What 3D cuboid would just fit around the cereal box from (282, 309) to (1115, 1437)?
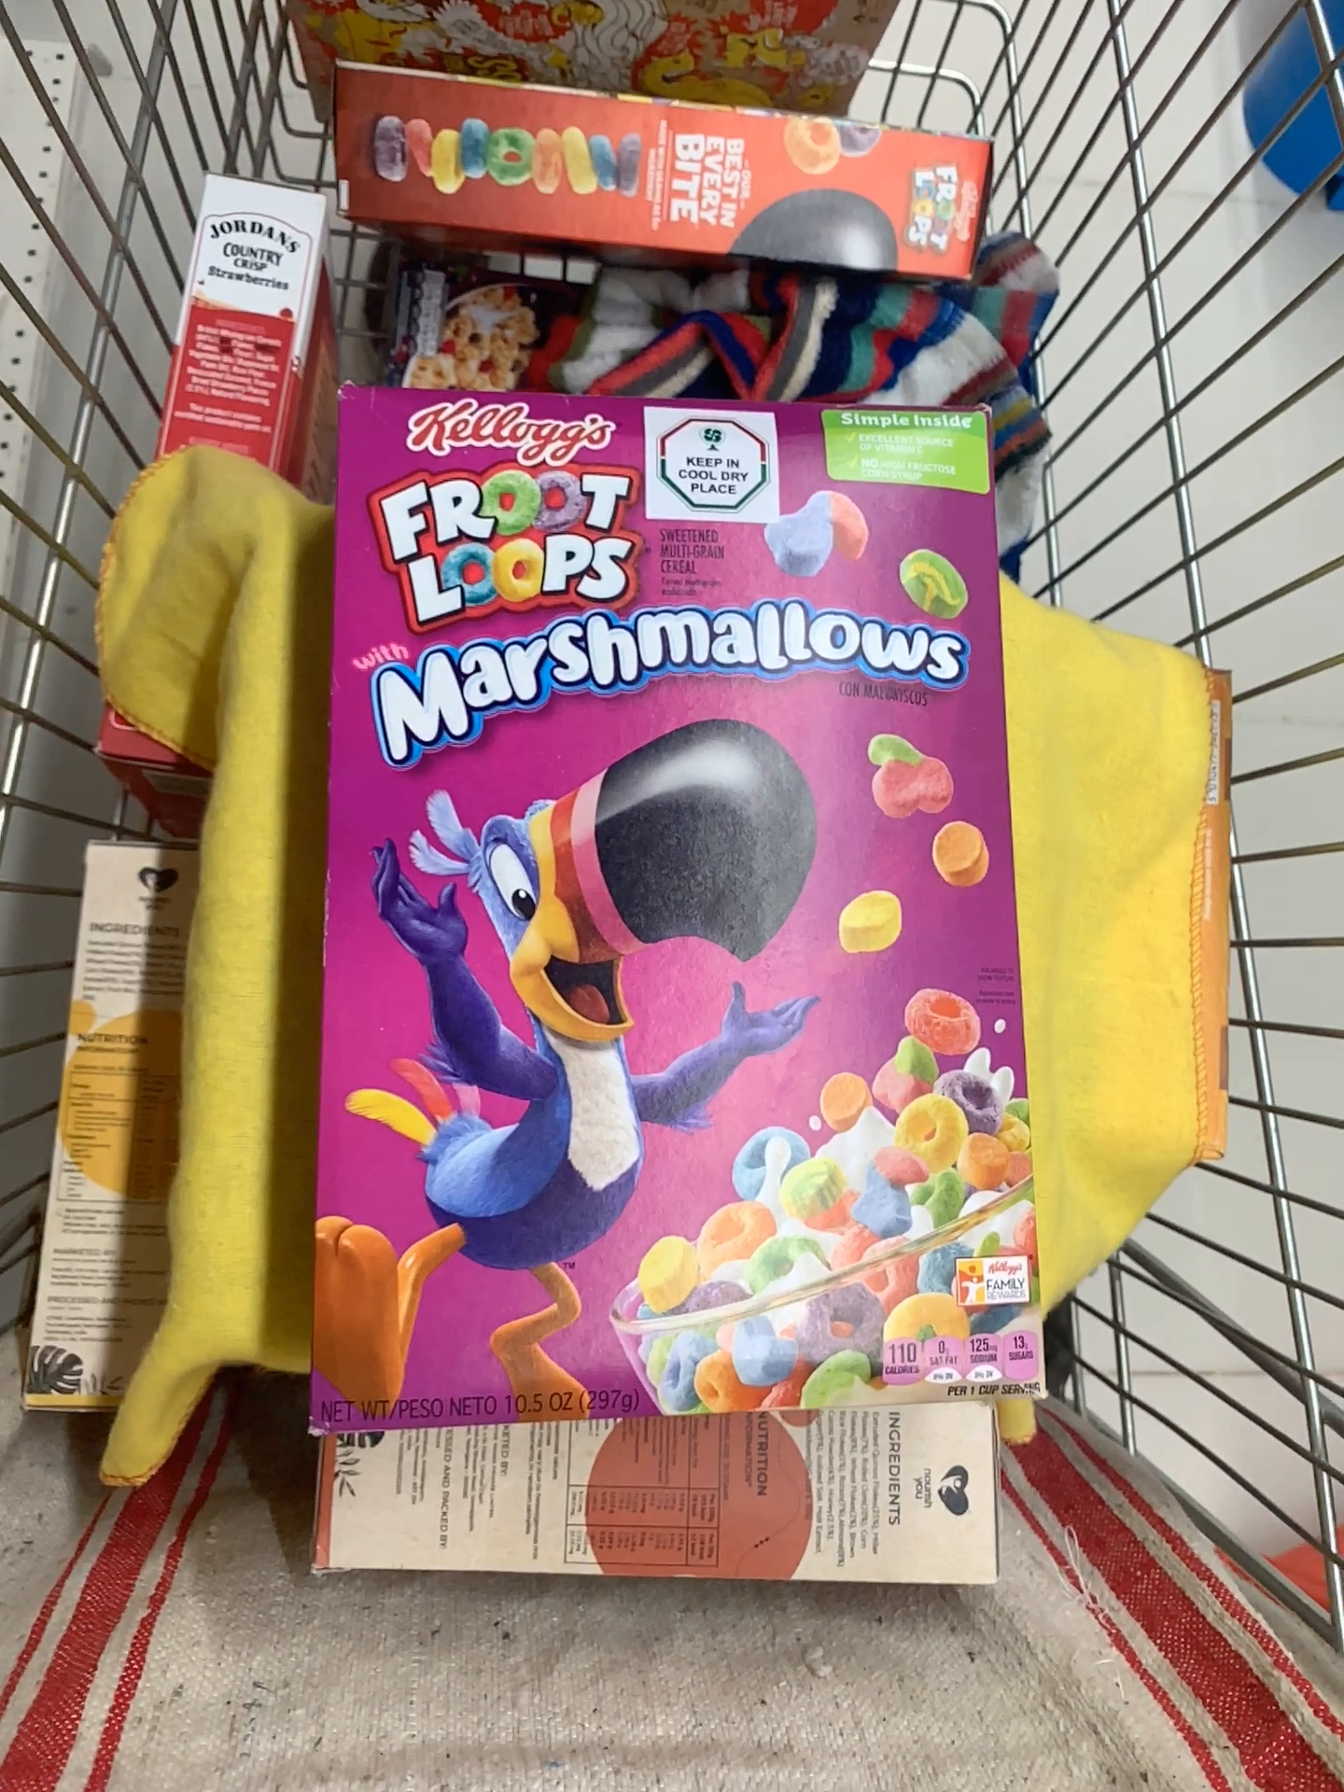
[{"bbox_3d":[0.003,-0.008,0.371,0.190,0.070,0.270,0,80,-7],"label":"cereal box"}]
